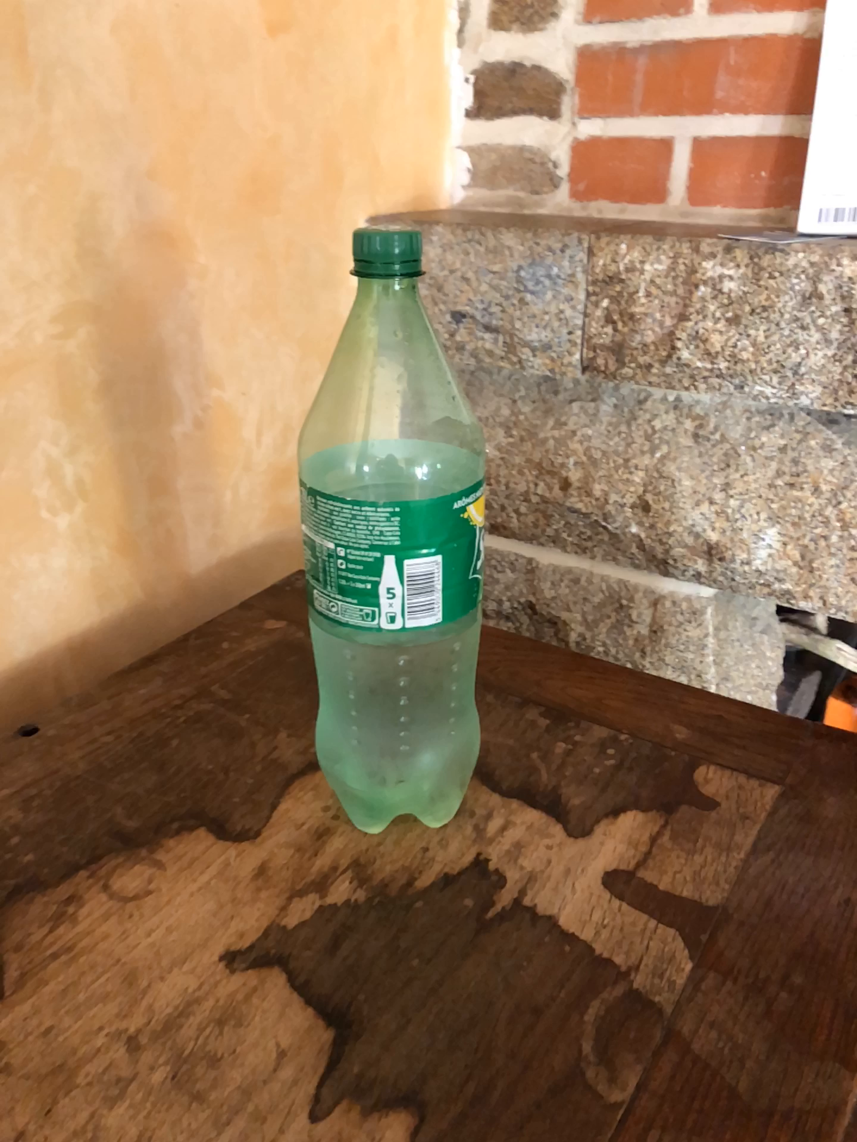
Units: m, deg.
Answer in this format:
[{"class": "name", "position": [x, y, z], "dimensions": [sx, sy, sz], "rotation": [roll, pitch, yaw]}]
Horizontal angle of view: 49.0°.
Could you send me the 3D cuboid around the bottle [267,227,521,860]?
[{"class": "bottle", "position": [-0.019, -0.011, 0.444], "dimensions": [0.090, 0.279, 0.090], "rotation": [0, 24, 0]}]
